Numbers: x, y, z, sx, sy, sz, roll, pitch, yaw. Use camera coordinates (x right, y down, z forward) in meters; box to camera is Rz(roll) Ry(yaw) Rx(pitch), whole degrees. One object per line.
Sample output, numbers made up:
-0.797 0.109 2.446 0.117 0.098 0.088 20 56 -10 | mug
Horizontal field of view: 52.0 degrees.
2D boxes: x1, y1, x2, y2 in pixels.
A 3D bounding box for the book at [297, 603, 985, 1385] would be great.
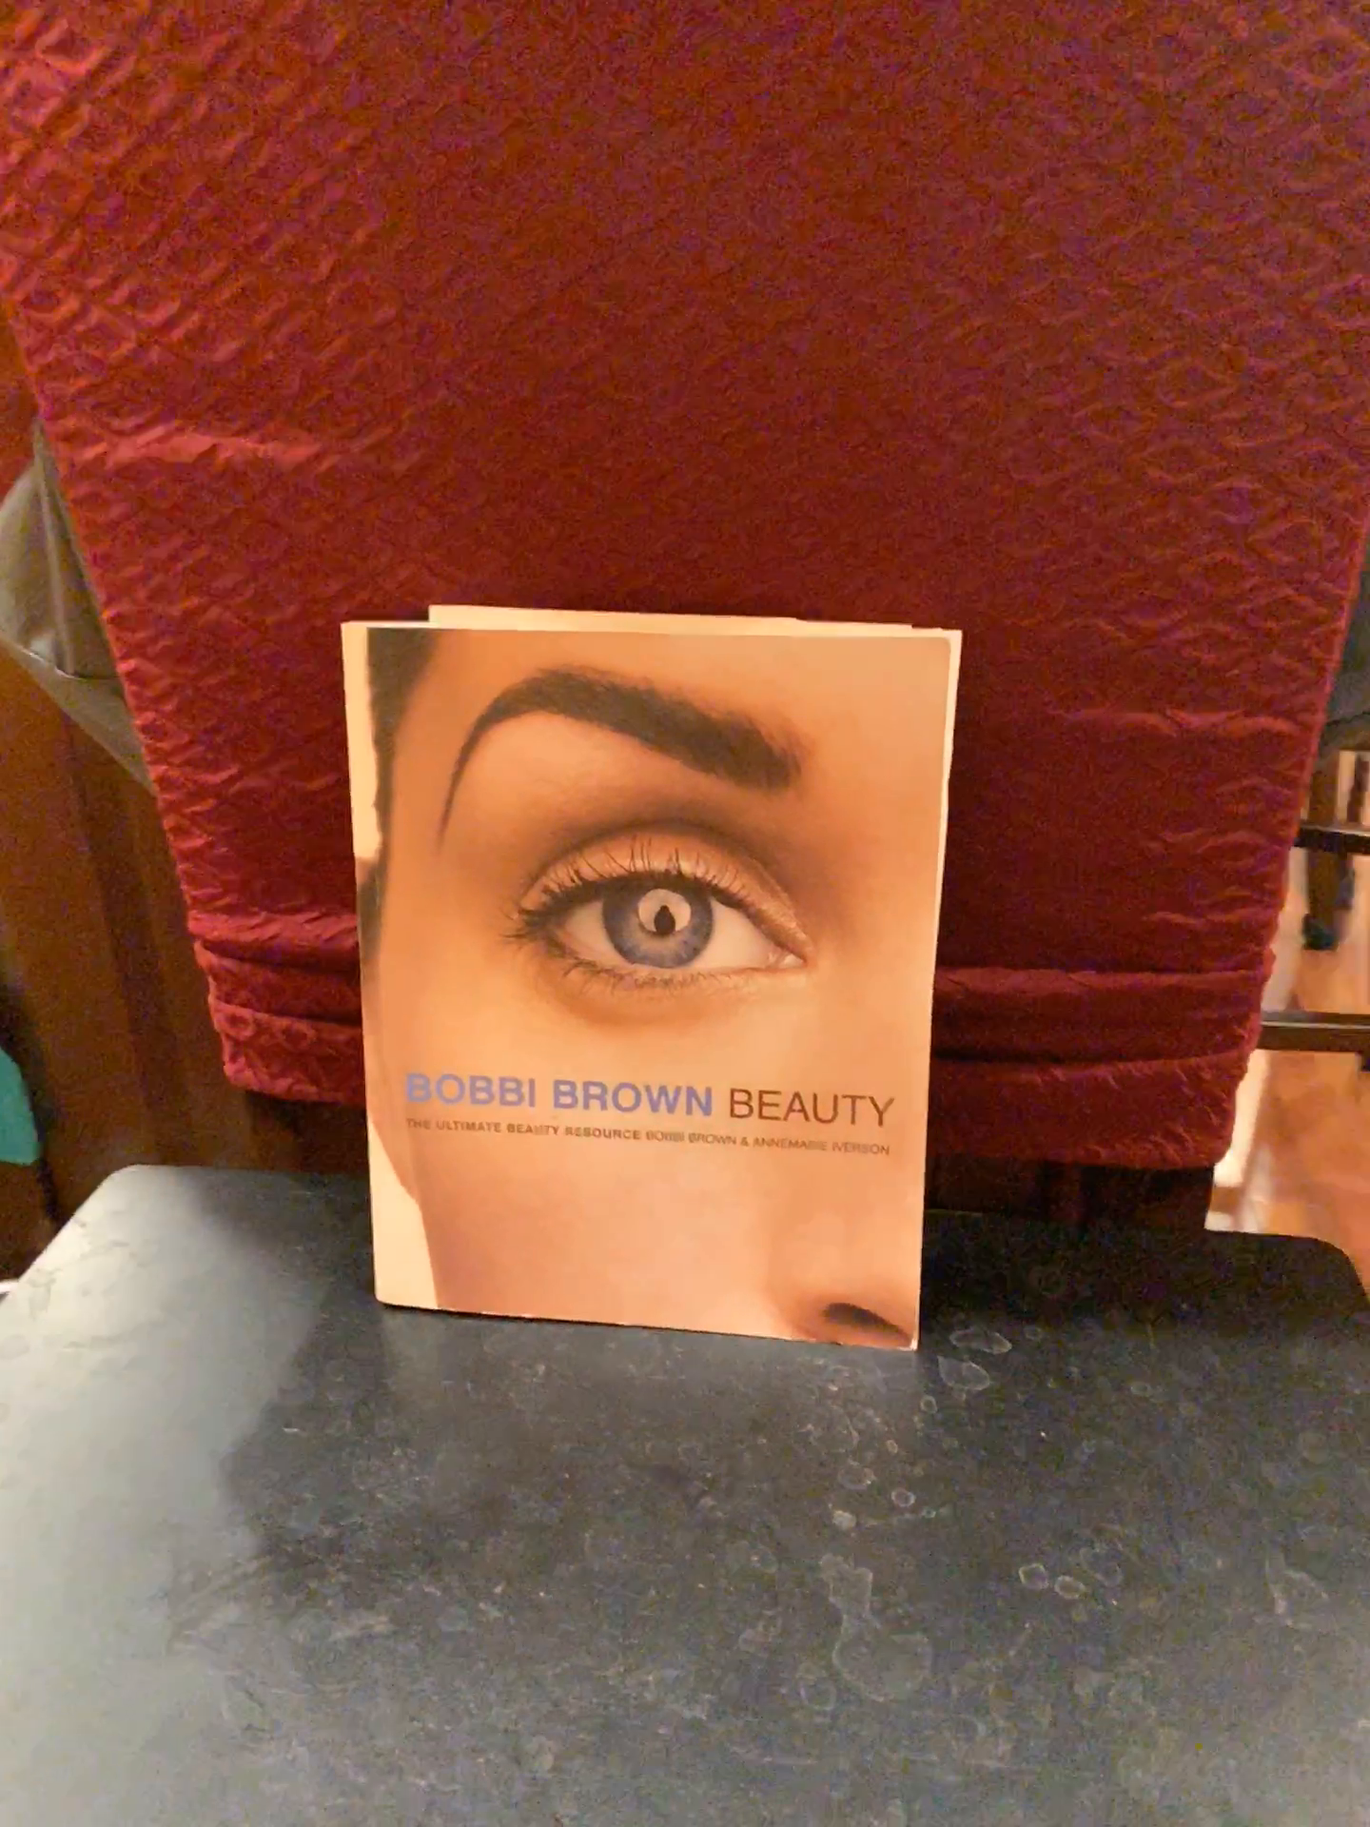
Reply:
-0.014 0.025 0.446 0.200 0.239 0.030 2 15 9 | book
